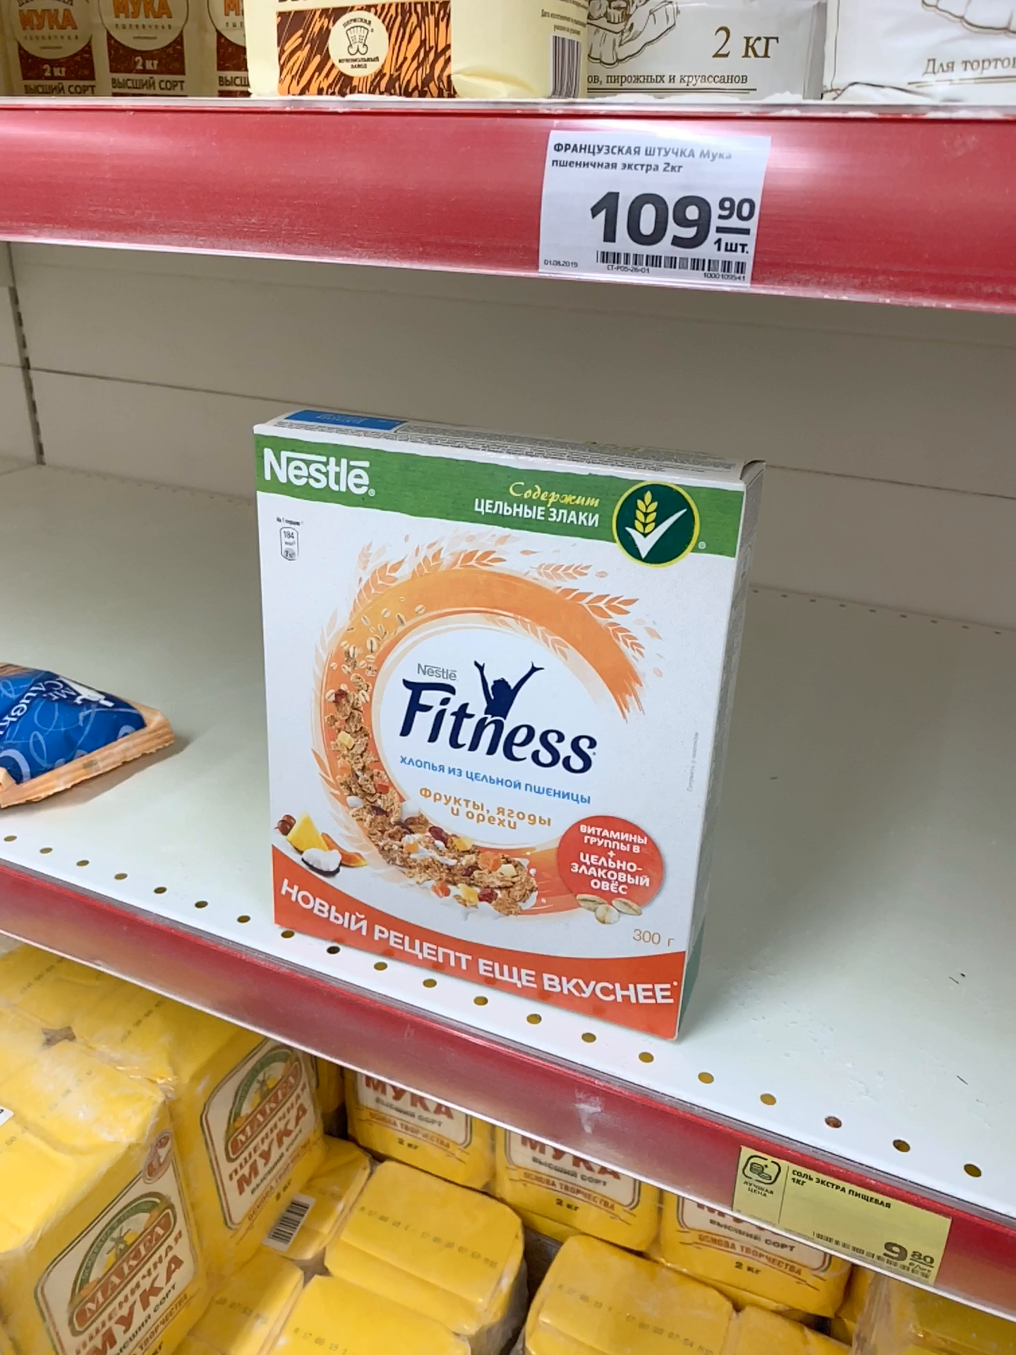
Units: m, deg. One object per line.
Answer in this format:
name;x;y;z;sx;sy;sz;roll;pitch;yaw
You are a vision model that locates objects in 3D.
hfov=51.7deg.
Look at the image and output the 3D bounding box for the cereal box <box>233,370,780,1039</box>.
cereal box;-0.009;0.006;0.439;0.200;0.238;0.060;11;22;19
